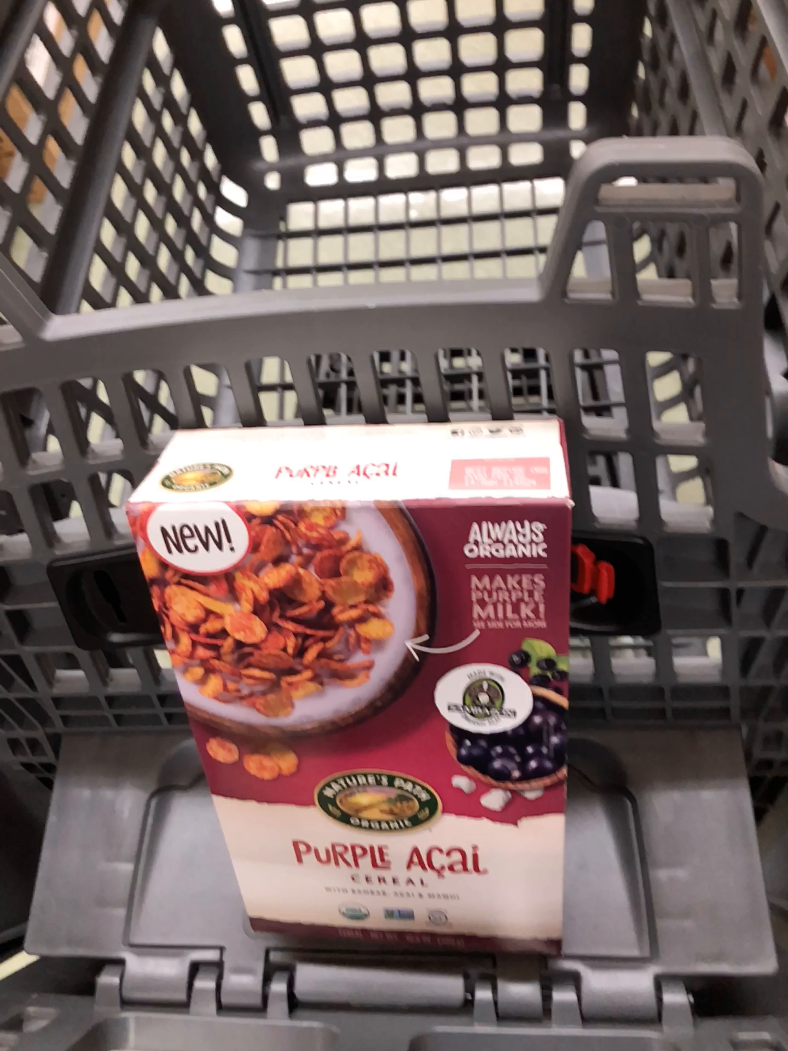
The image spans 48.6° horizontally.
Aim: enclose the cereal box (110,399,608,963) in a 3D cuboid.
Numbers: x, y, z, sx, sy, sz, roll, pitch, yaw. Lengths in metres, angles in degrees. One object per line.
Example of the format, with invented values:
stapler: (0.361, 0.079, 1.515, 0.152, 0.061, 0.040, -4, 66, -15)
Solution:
cereal box: (-0.001, 0.083, 0.396, 0.170, 0.270, 0.070, 0, 33, 7)
